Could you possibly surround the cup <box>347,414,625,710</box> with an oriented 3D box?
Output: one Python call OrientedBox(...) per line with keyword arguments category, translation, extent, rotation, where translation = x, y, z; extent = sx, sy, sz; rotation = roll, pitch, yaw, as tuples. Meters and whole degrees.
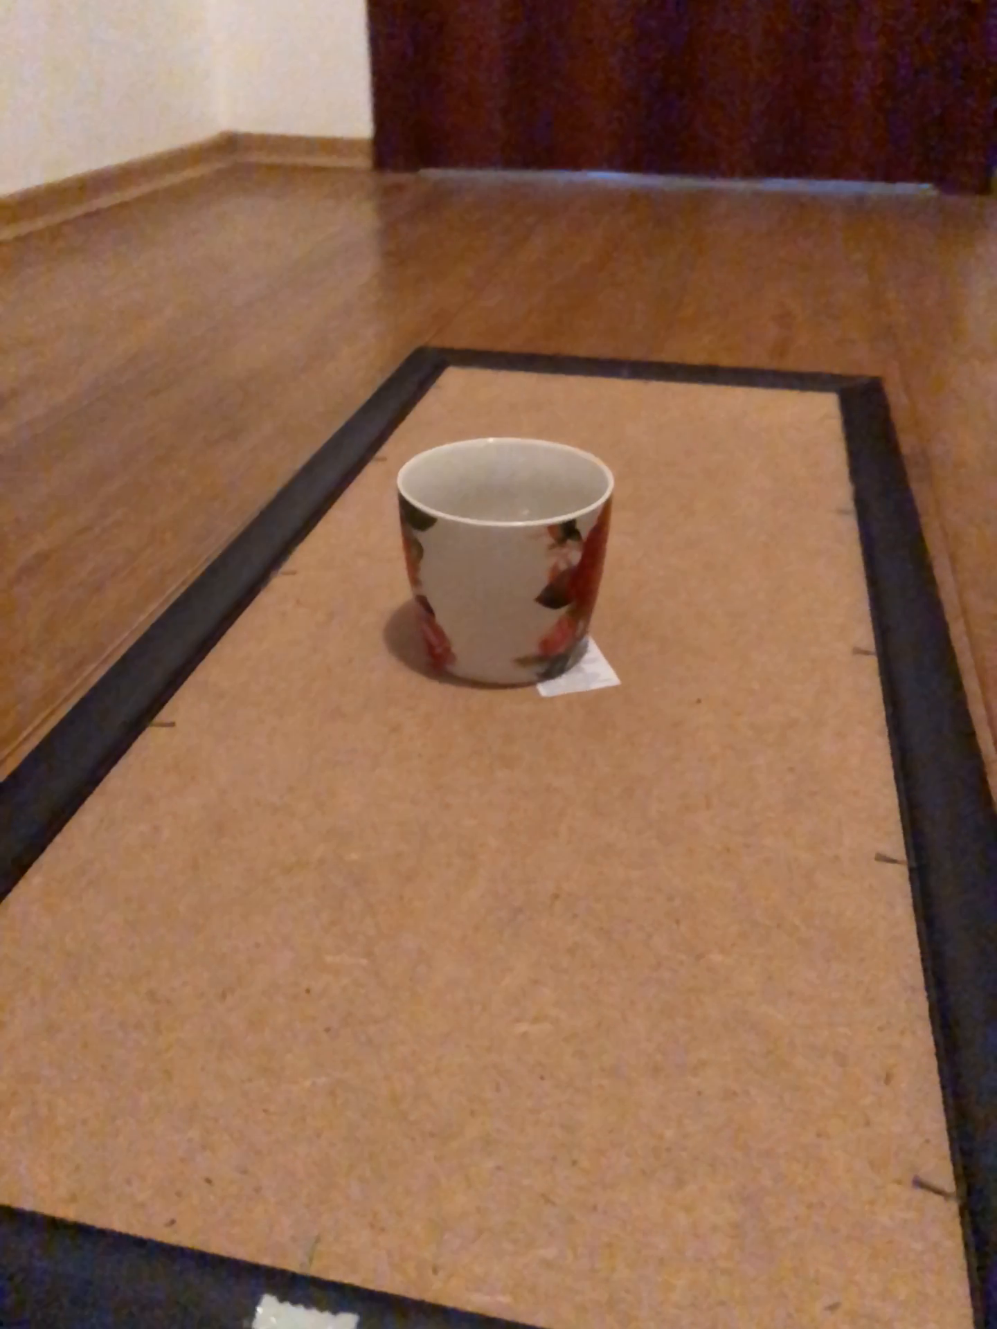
OrientedBox(category="cup", translation=(0.000, -0.051, 0.496), extent=(0.098, 0.079, 0.122), rotation=(6, 32, 10))
